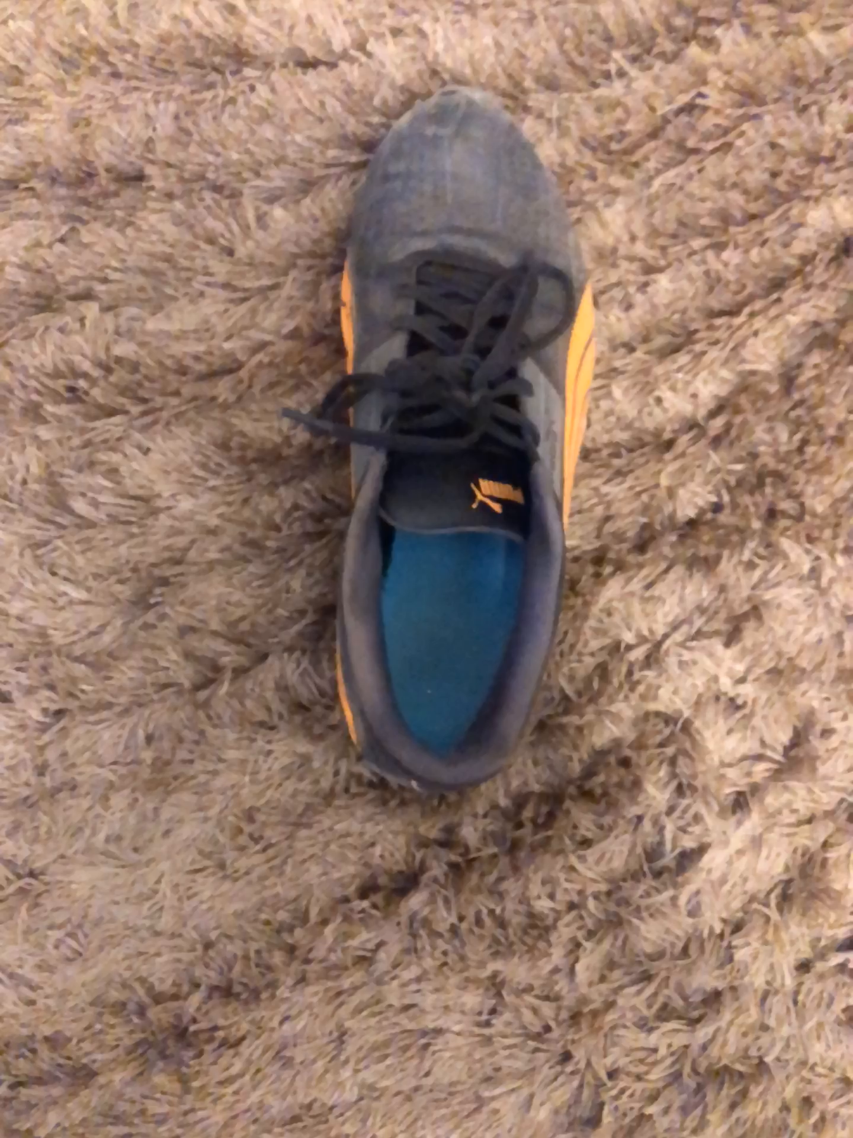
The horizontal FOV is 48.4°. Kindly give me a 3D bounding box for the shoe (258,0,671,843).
[{"bbox_3d":[0.007,-0.057,0.383,0.122,0.110,0.300,4,93,-8],"label":"shoe"}]
